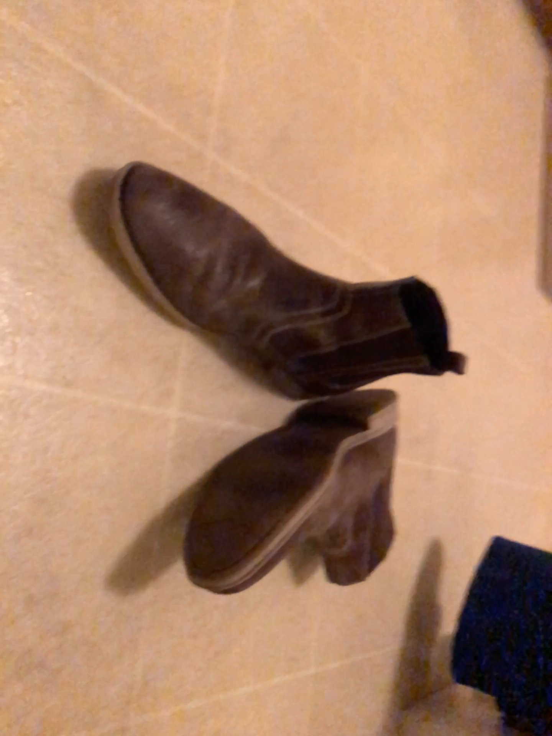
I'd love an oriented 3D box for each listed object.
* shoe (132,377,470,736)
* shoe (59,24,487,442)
[{"bbox_3d":[0.050,0.137,0.544,0.315,0.111,0.161,-29,112,-47],"label":"shoe"},{"bbox_3d":[0.023,-0.065,0.481,0.314,0.160,0.111,43,57,-40],"label":"shoe"}]
